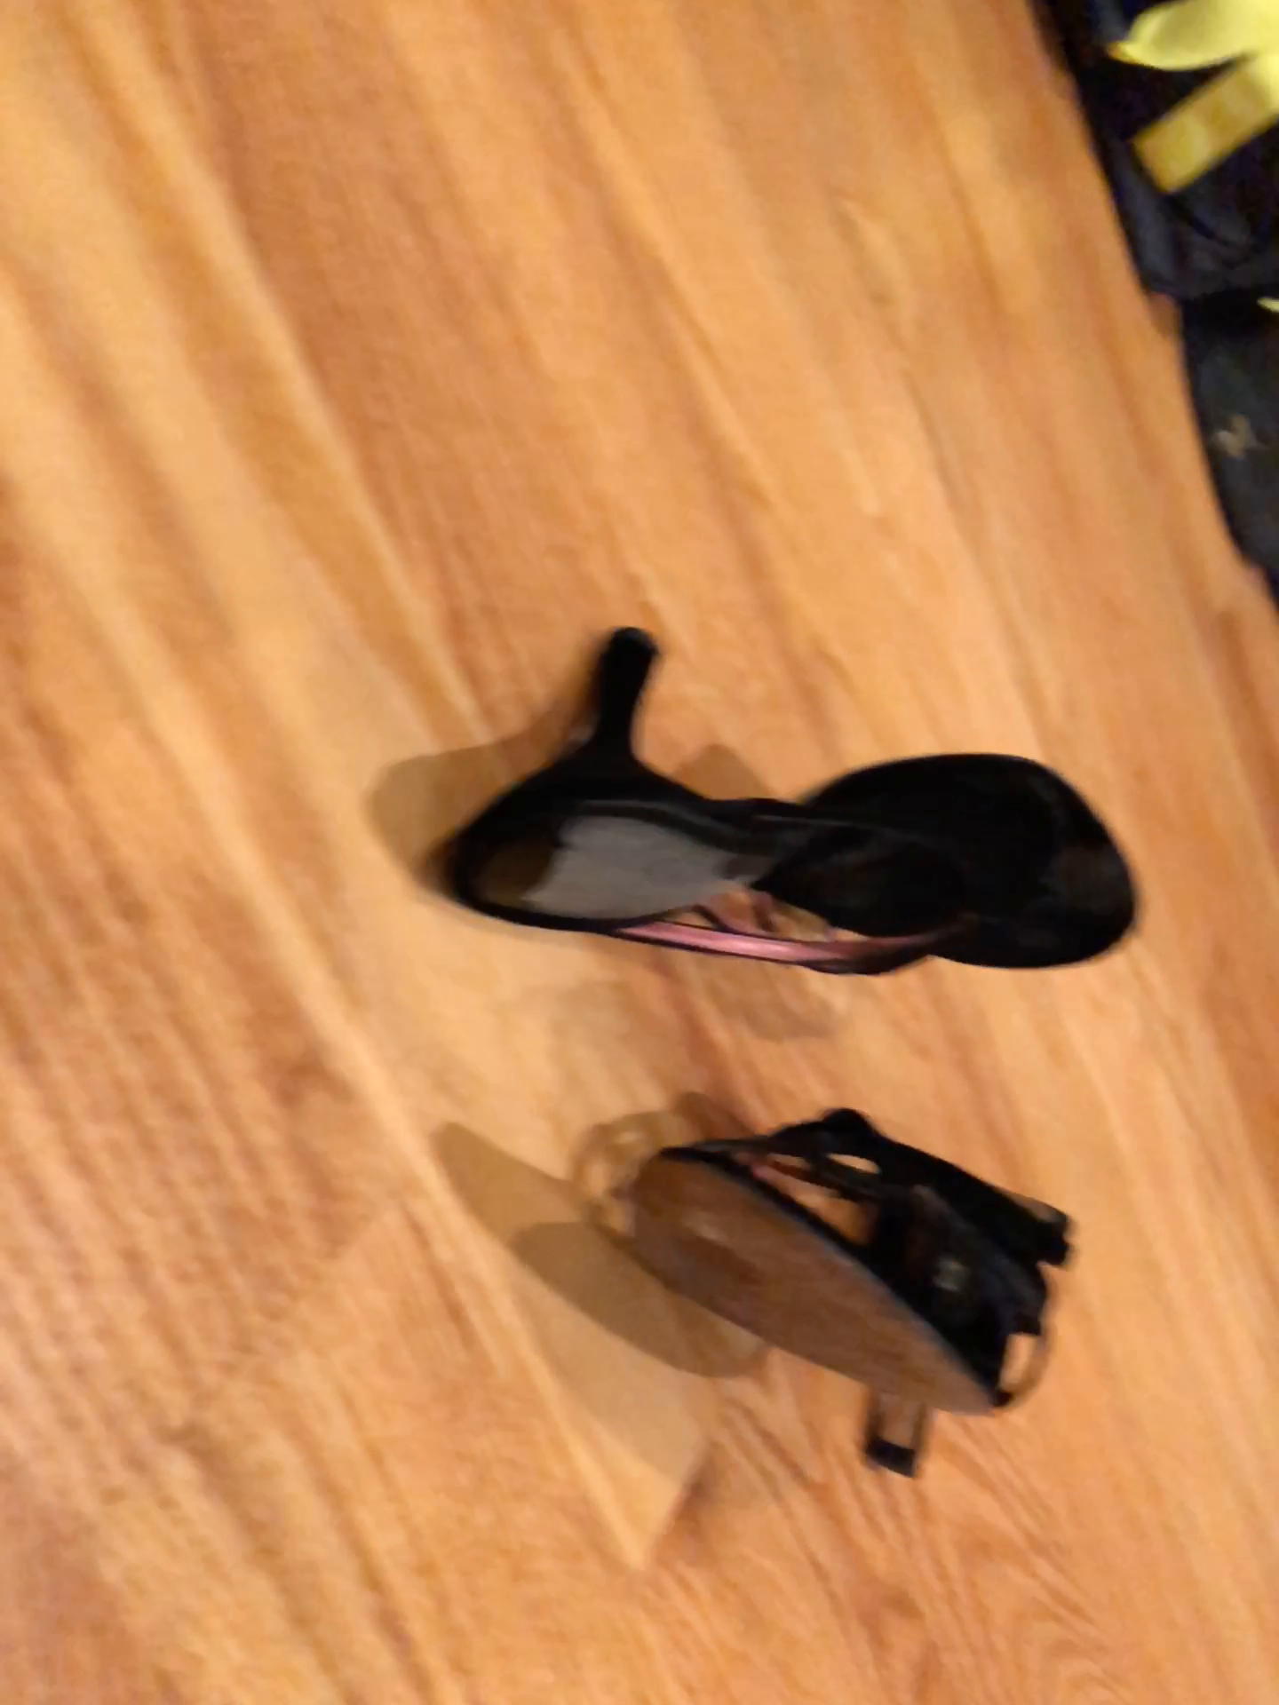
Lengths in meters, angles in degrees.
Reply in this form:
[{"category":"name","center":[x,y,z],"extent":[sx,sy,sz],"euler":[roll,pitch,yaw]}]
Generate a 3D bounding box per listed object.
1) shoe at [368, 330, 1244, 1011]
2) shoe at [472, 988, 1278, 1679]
[{"category":"shoe","center":[0.058,-0.018,0.350],"extent":[0.236,0.104,0.082],"euler":[17,67,-51]},{"category":"shoe","center":[0.075,0.100,0.333],"extent":[0.216,0.104,0.102],"euler":[16,66,-52]}]
